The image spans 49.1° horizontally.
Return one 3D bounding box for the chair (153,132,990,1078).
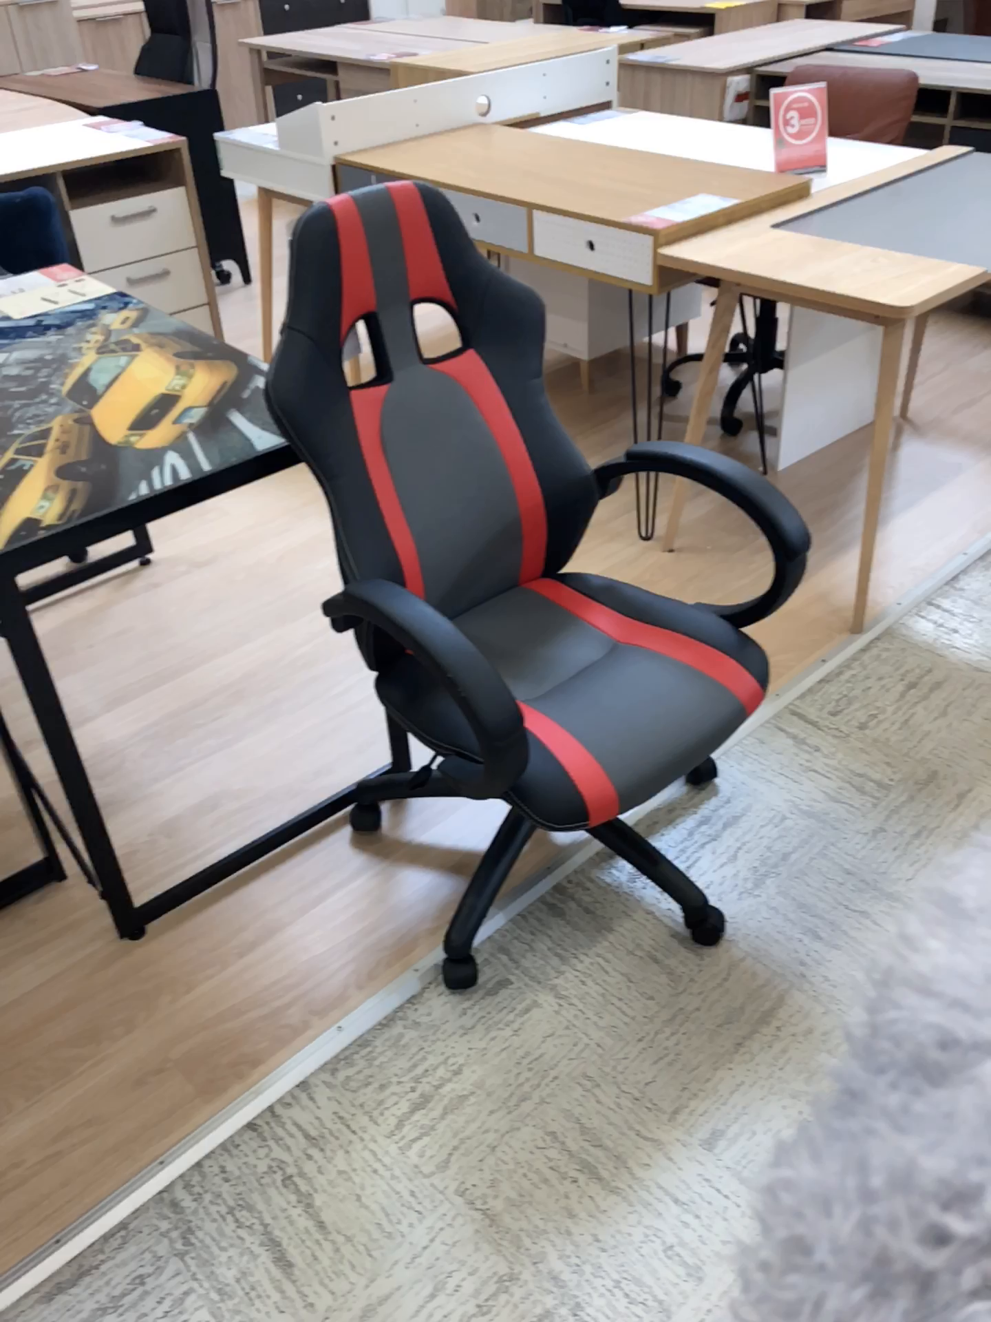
[{"bbox_3d":[0.108,-0.137,1.502,0.693,0.925,0.691,-29,42,-32],"label":"chair"}]
